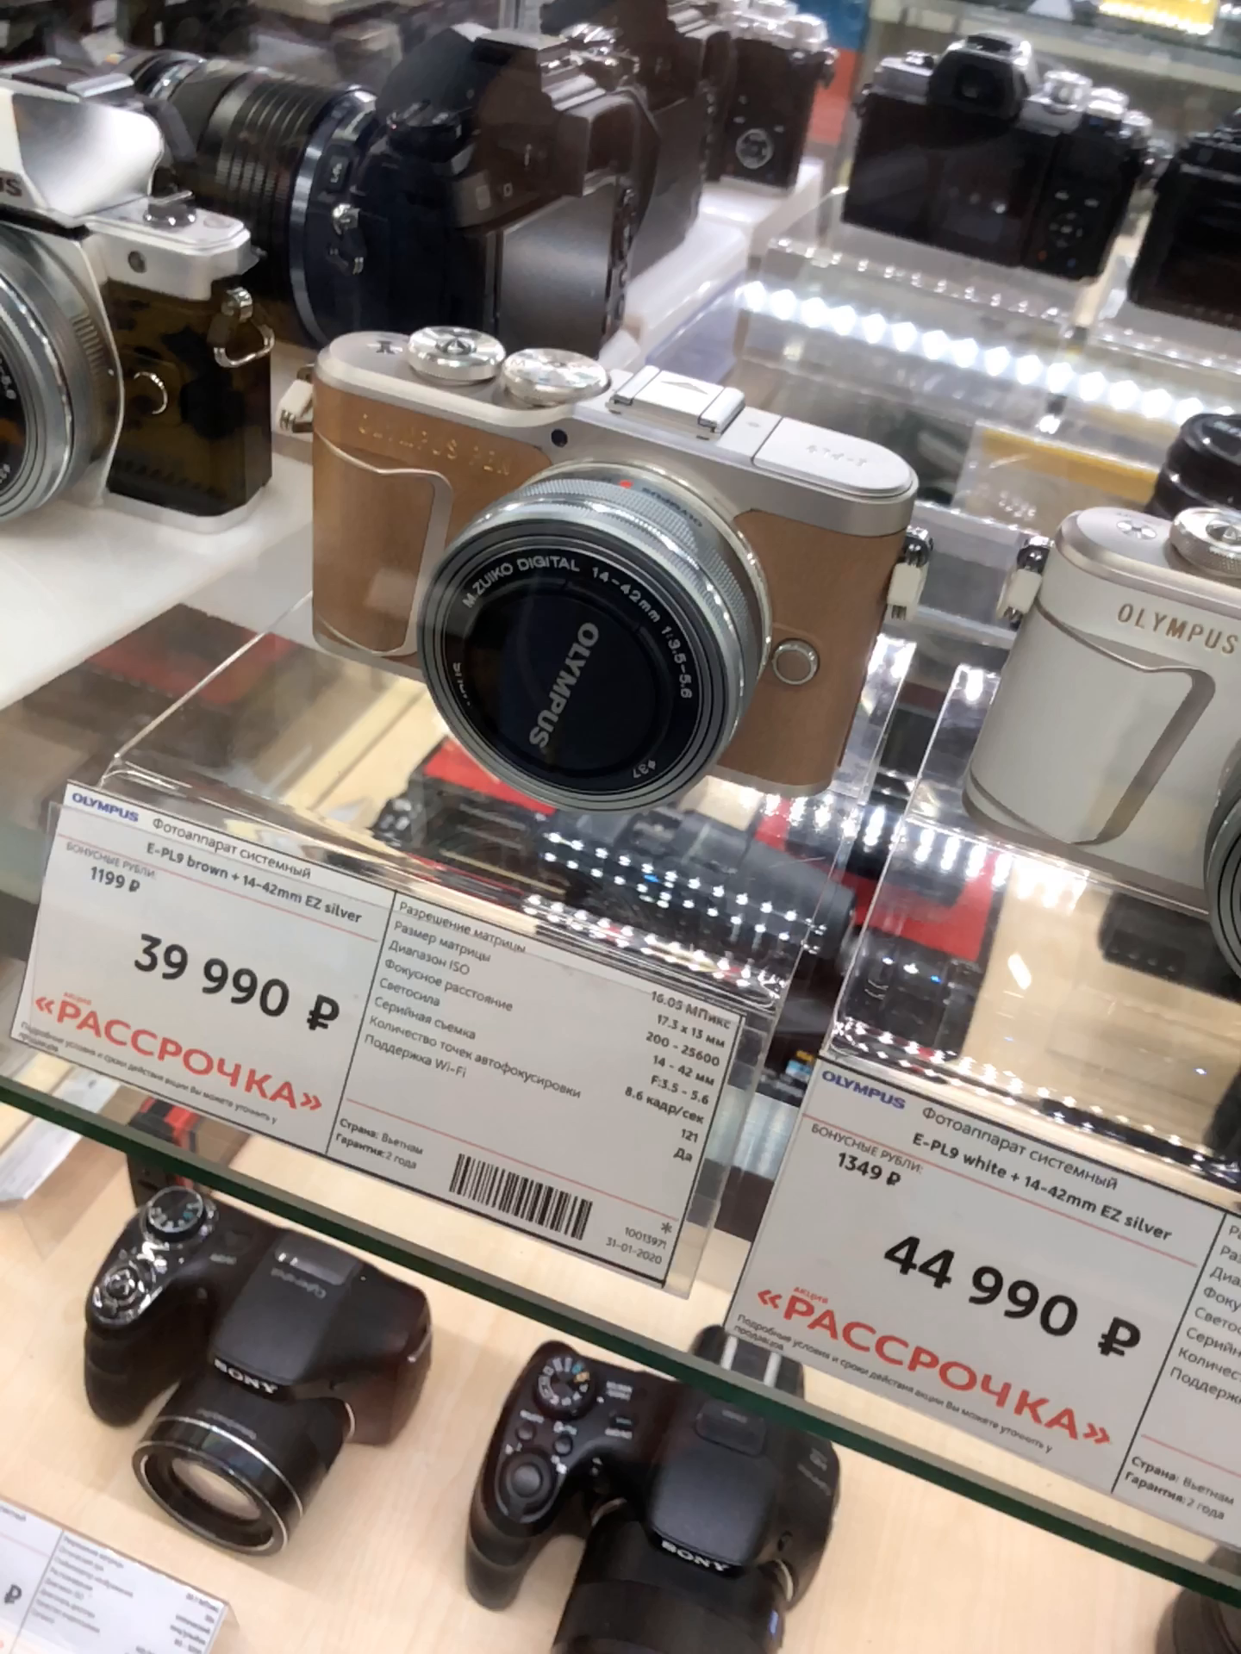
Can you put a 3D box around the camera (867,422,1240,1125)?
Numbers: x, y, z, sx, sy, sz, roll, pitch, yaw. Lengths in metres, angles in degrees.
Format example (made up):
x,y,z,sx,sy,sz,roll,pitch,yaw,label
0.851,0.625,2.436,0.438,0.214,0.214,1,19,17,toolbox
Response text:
x,y,z,sx,sy,sz,roll,pitch,yaw,label
0.112,-0.013,0.227,0.122,0.060,0.060,18,39,11,camera

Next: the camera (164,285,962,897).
x,y,z,sx,sy,sz,roll,pitch,yaw,label
-0.010,-0.047,0.251,0.122,0.060,0.060,18,39,11,camera
